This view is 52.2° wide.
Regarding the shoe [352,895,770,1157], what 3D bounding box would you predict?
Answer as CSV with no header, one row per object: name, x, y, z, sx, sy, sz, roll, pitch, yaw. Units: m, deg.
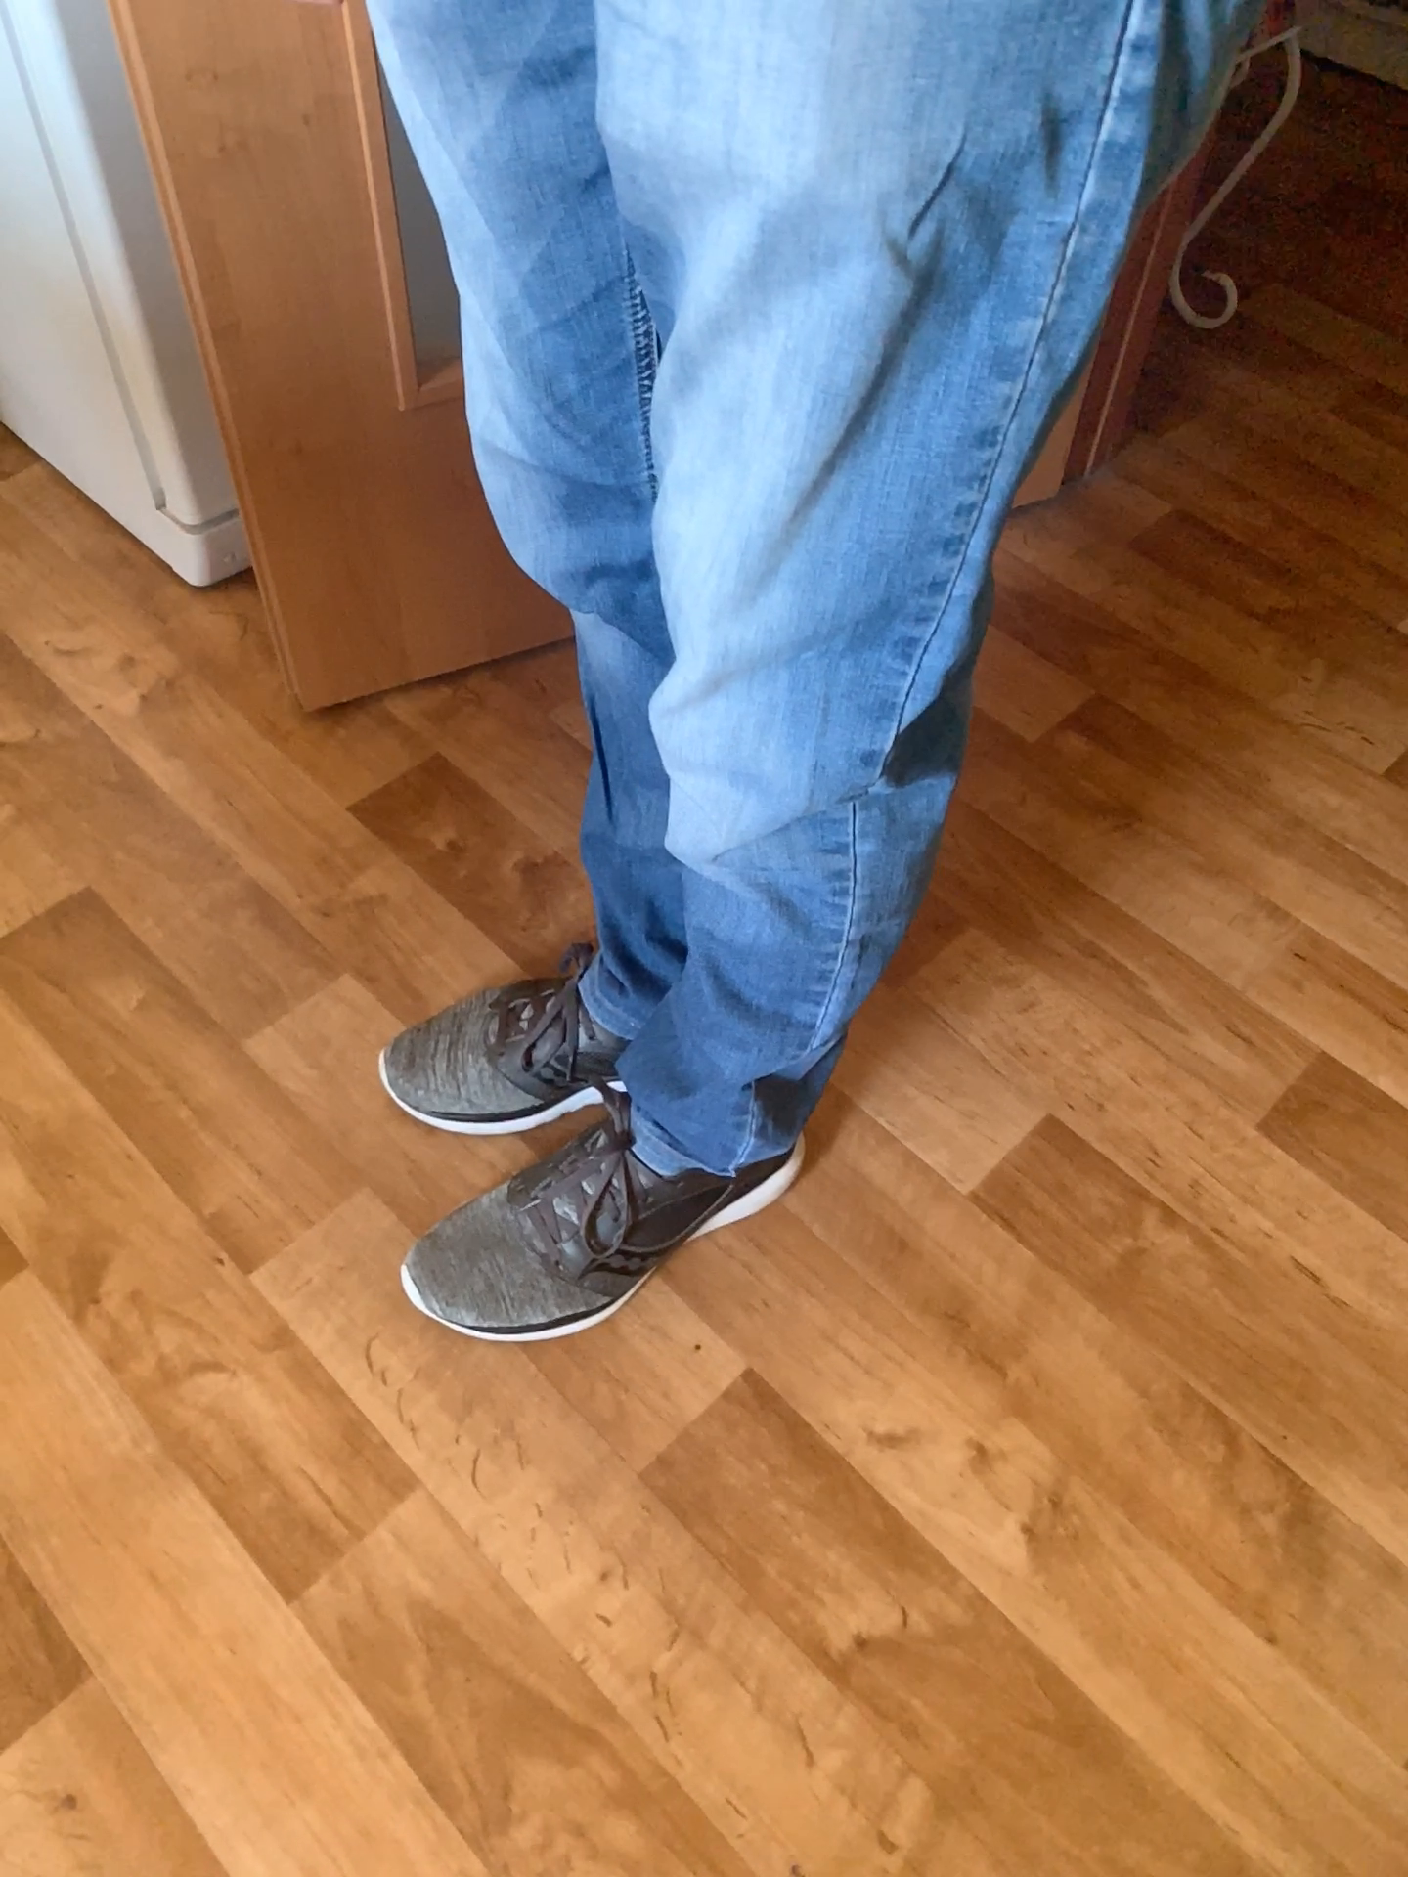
shoe,-0.105,0.062,1.047,0.280,0.100,0.124,-6,53,-8

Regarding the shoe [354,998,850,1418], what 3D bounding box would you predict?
shoe,-0.065,0.175,0.965,0.290,0.100,0.134,-24,58,-20
